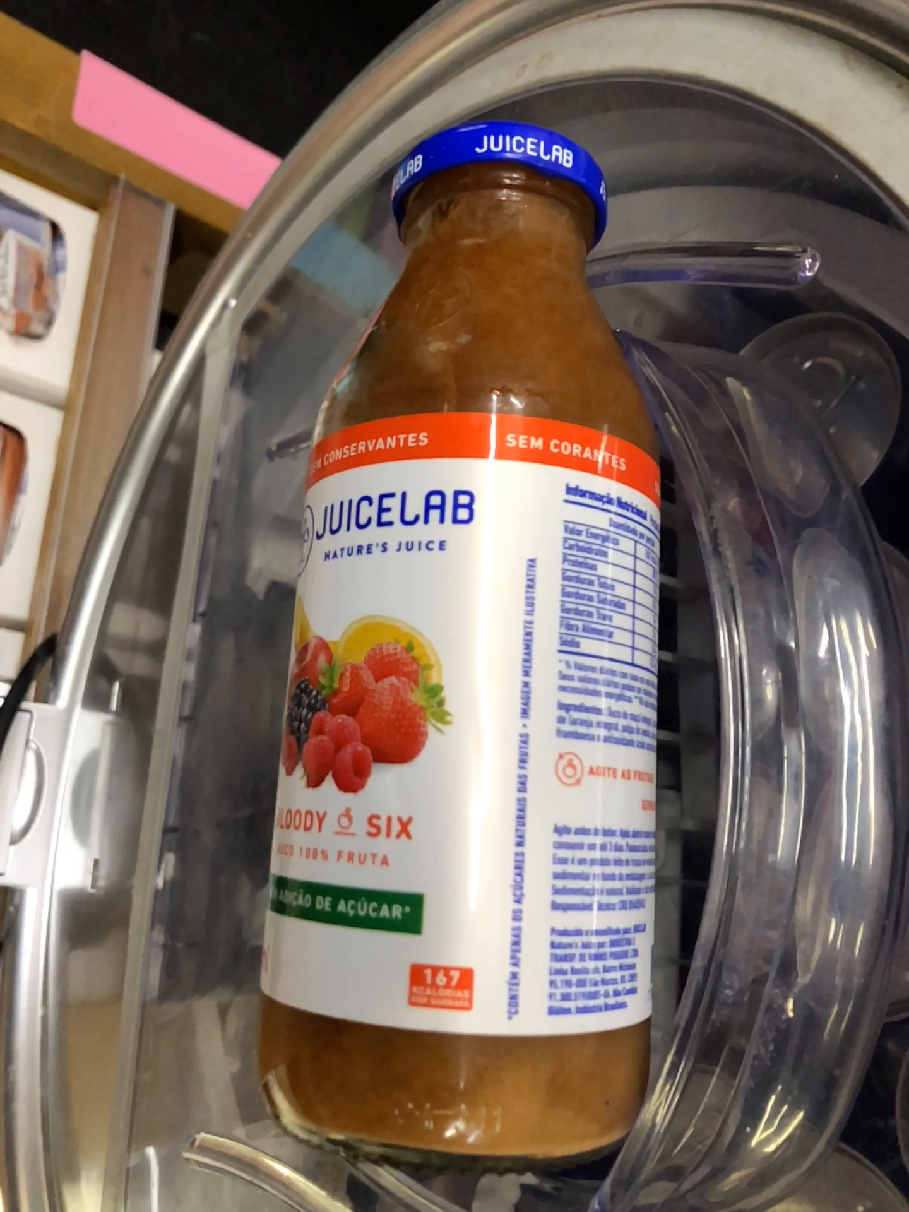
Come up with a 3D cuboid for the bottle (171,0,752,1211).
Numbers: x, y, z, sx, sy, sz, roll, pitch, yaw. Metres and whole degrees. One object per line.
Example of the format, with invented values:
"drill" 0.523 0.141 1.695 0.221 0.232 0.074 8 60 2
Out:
"bottle" 0.008 -0.010 0.186 0.070 0.060 0.190 -5 74 36
